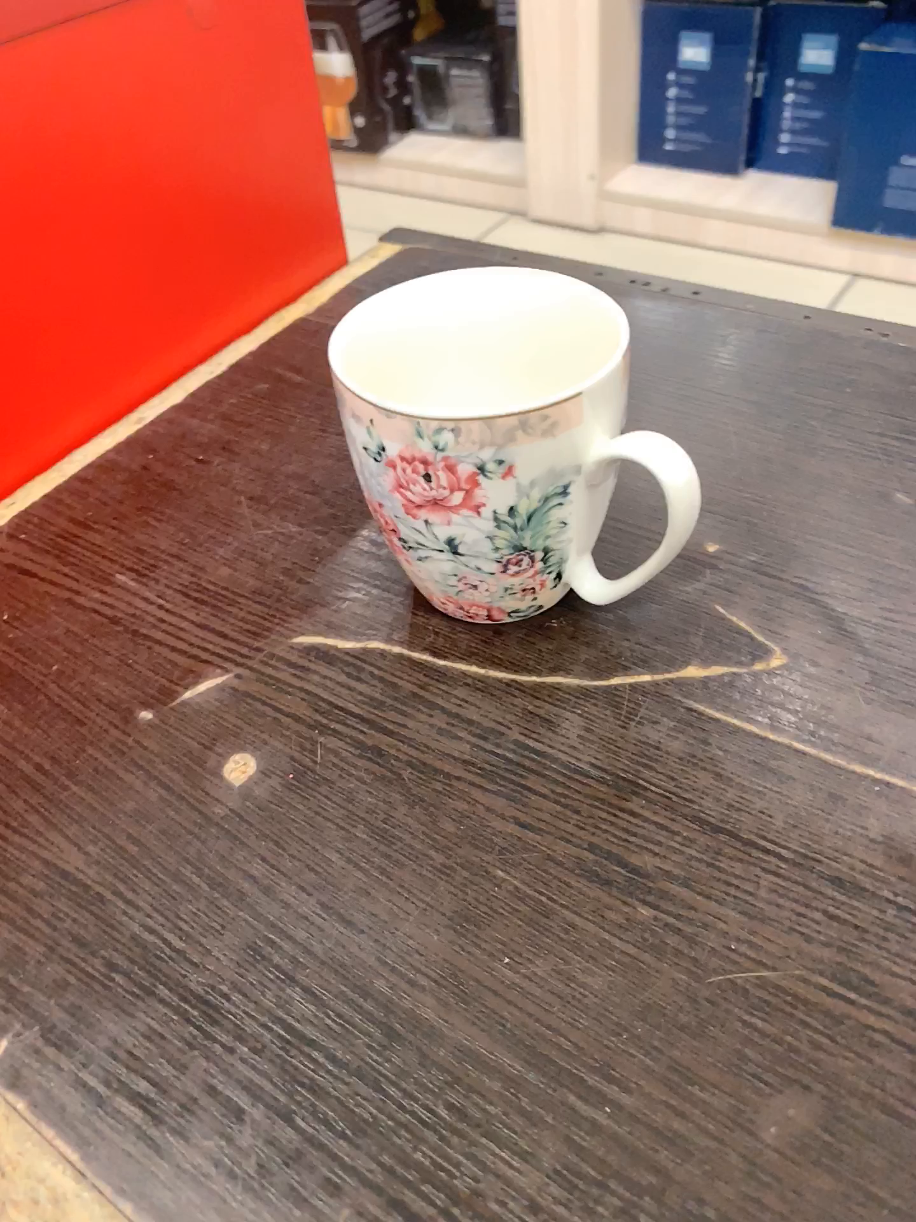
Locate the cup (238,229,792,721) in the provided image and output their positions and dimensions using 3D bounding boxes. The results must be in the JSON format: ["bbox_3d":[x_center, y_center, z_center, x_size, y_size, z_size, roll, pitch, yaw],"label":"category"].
[{"bbox_3d":[0.015,-0.043,0.257,0.110,0.070,0.080,29,54,32],"label":"cup"}]
